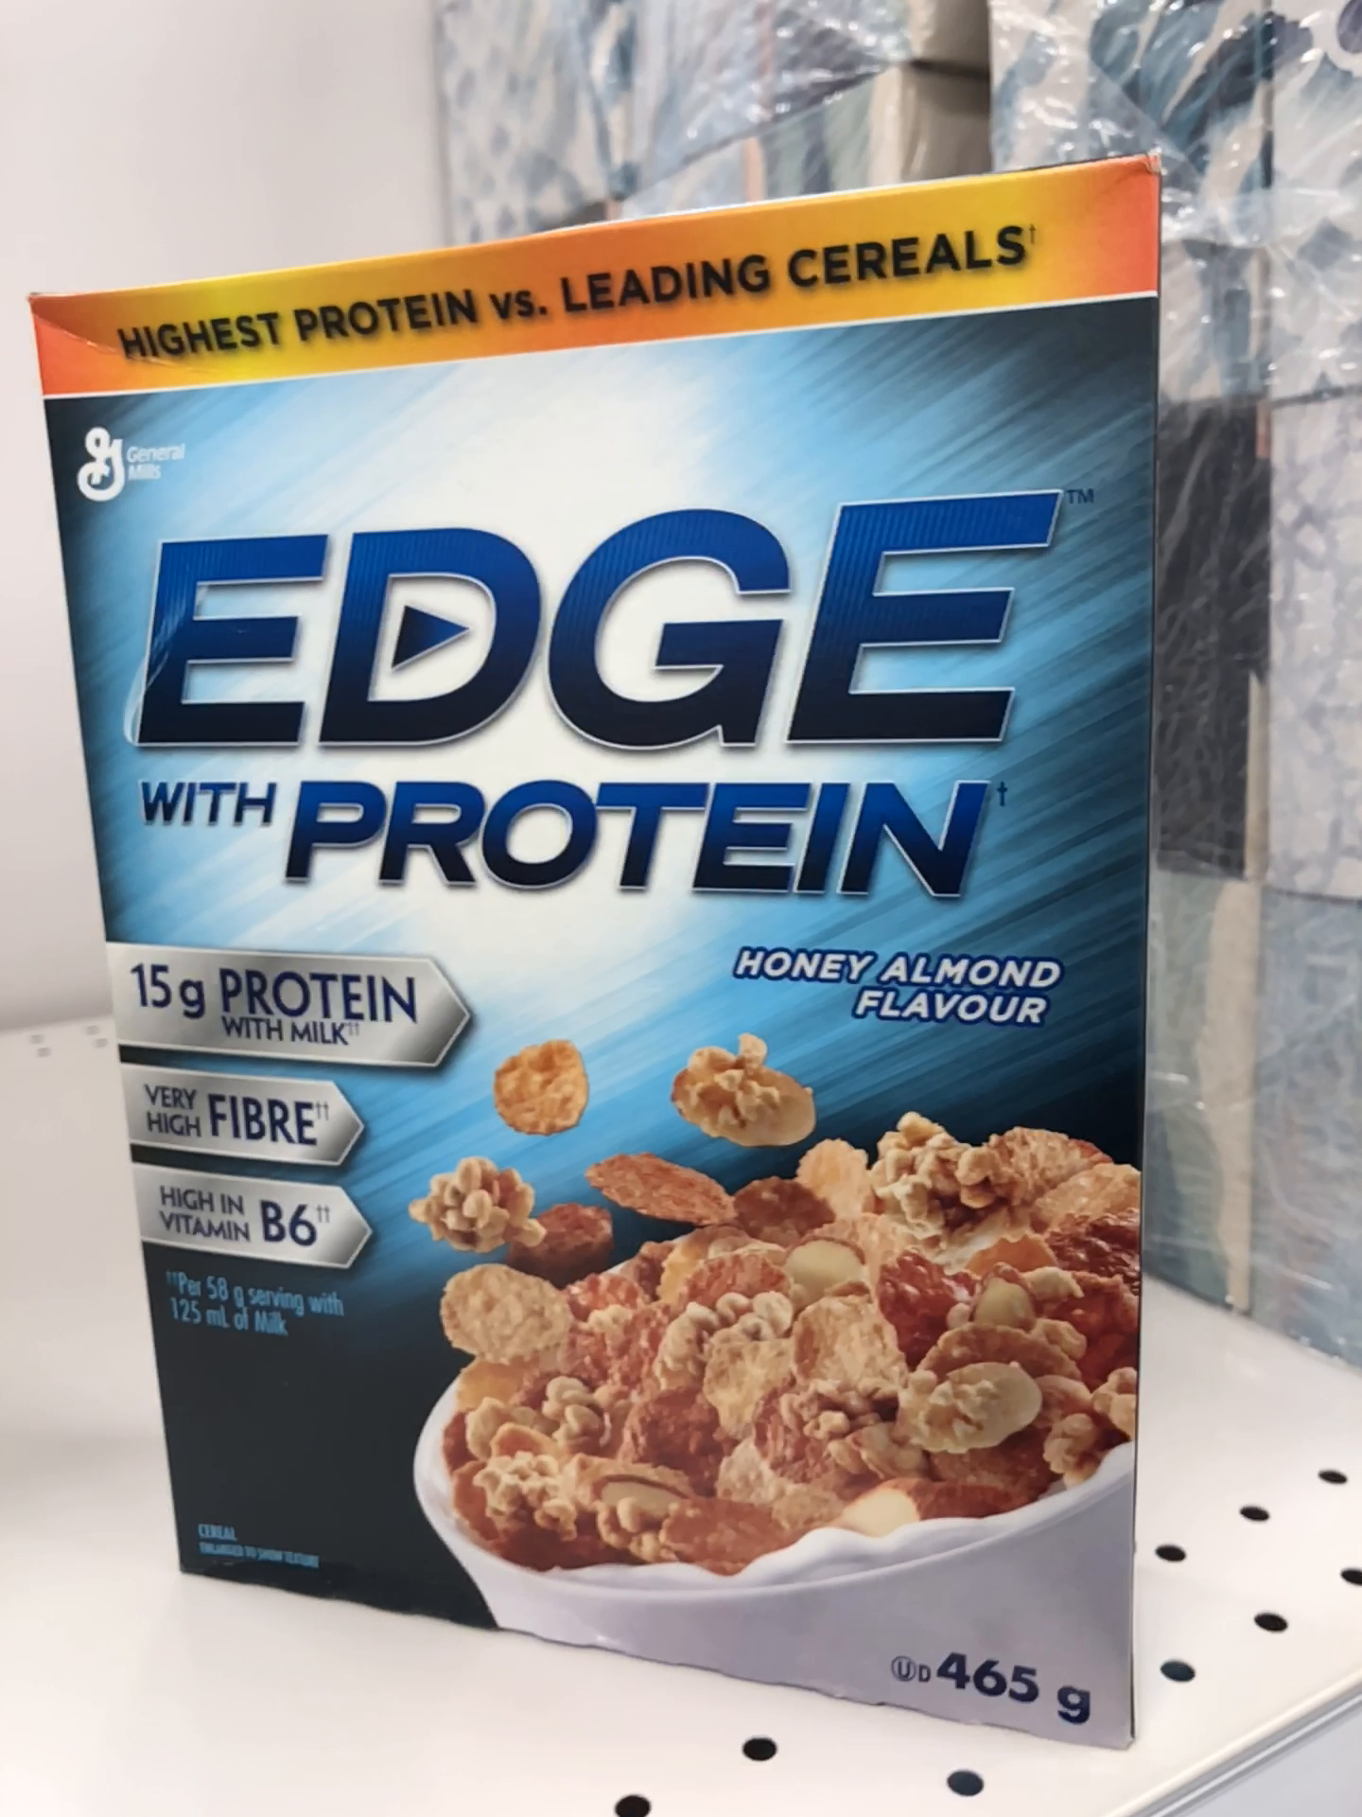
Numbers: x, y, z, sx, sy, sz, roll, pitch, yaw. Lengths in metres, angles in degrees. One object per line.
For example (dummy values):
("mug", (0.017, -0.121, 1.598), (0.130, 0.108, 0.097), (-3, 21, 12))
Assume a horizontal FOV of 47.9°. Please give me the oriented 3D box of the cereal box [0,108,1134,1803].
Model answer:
("cereal box", (-0.017, 0.016, 0.299), (0.200, 0.279, 0.050), (1, 12, 18))
